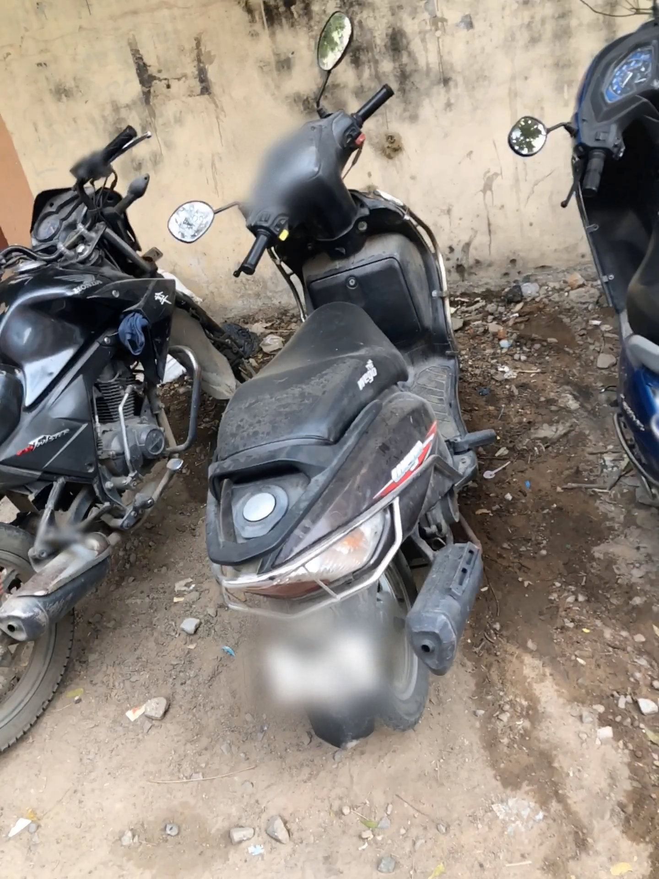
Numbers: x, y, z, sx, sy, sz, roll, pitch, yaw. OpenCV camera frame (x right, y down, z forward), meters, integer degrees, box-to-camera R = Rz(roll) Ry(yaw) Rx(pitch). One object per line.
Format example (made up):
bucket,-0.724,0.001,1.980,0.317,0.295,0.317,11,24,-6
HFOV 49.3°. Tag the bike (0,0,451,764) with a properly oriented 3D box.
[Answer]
bike,-0.121,-0.298,1.818,0.528,1.113,1.568,-9,35,8
